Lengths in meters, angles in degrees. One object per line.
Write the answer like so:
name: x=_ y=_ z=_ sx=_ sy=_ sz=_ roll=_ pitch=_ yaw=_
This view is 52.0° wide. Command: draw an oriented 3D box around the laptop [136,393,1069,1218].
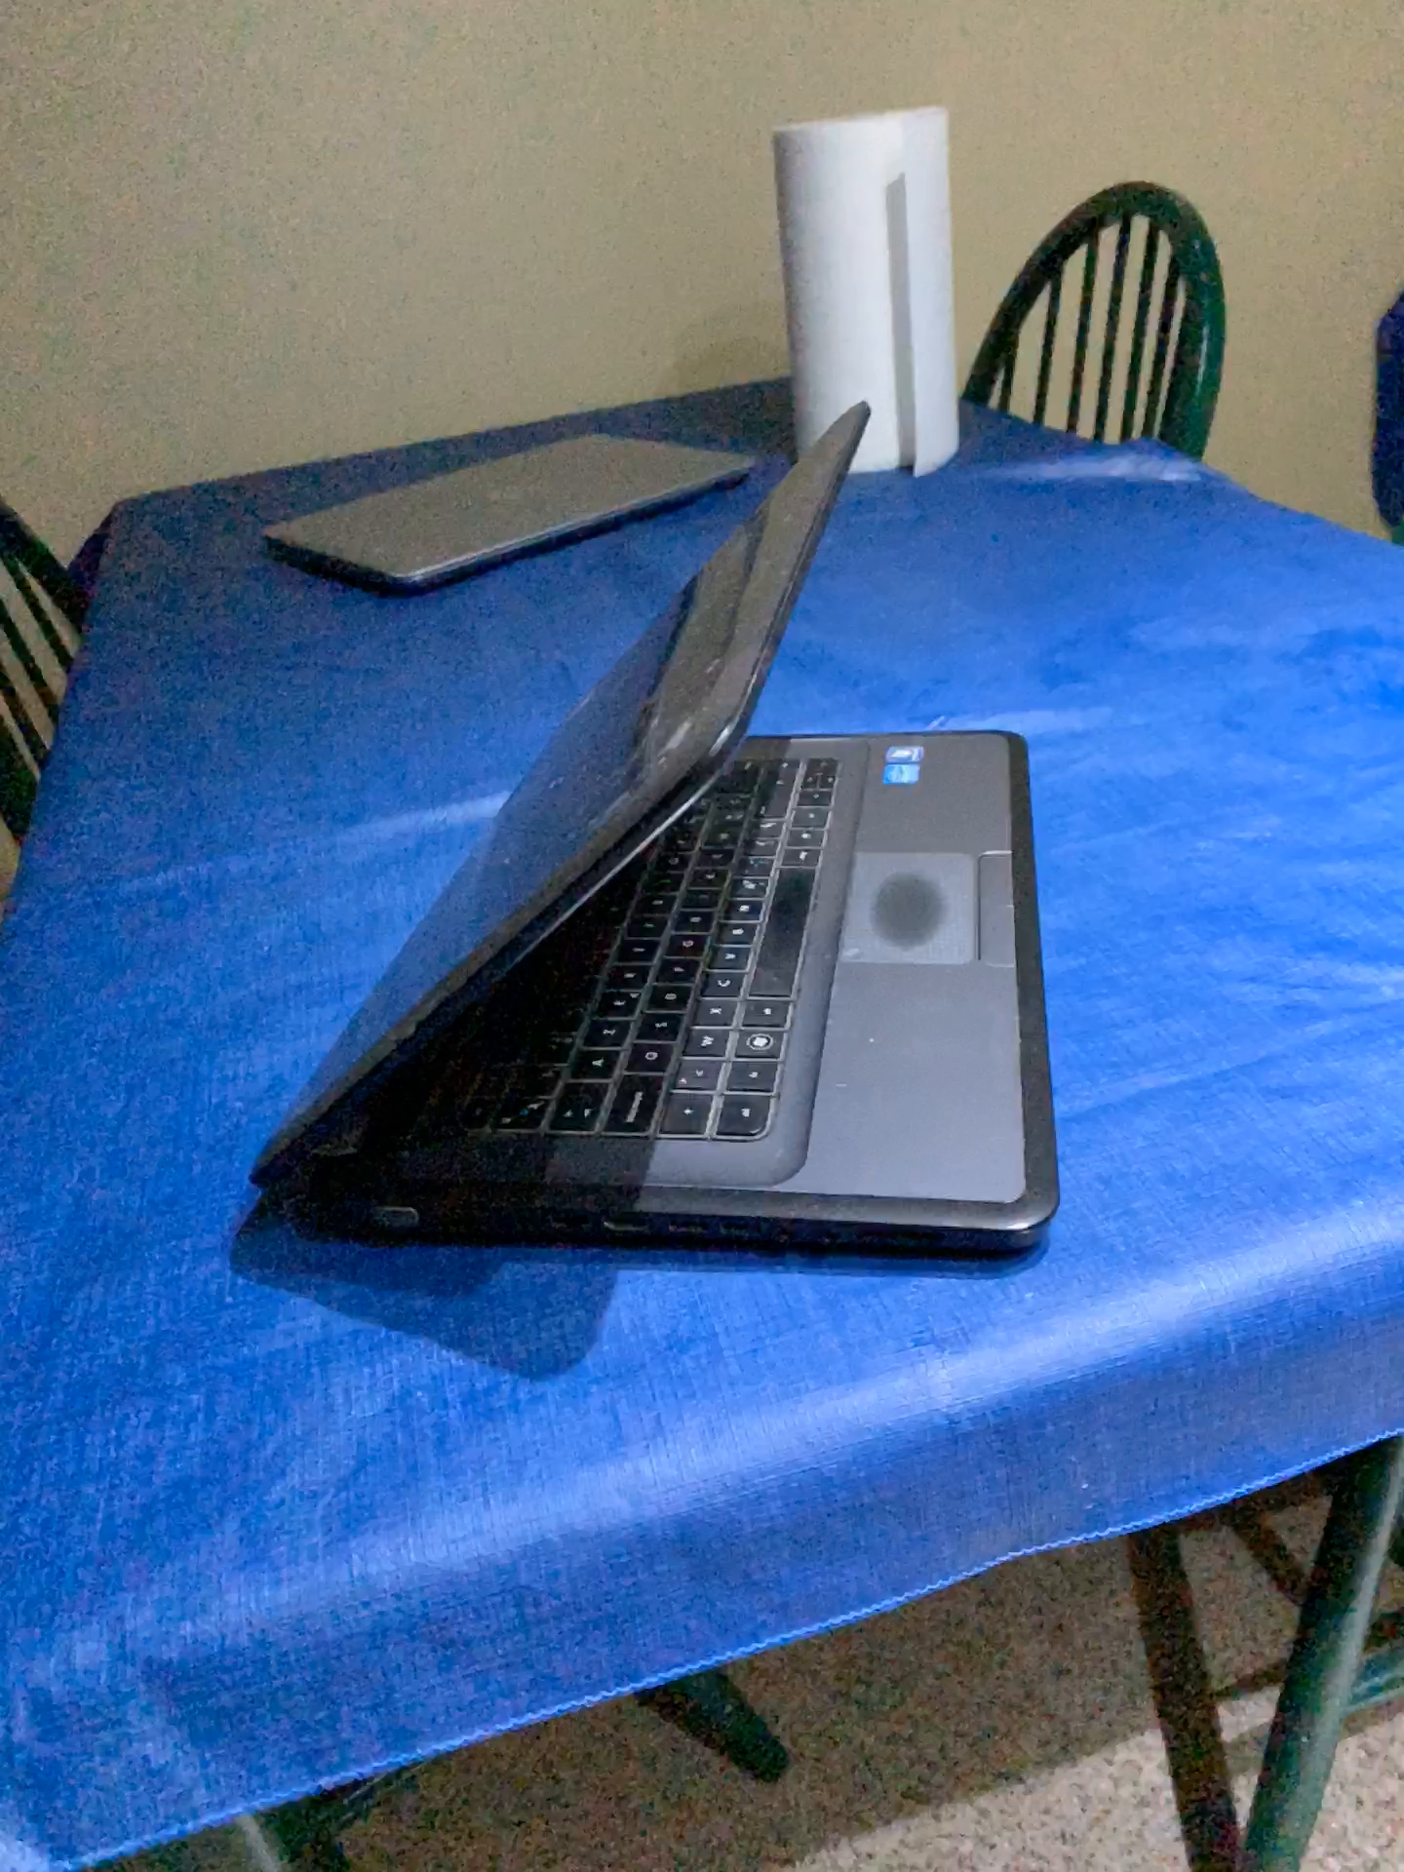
laptop: x=0.005 y=-0.078 z=0.554 sx=0.243 sy=0.160 sz=0.364 roll=-2 pitch=30 yaw=12
